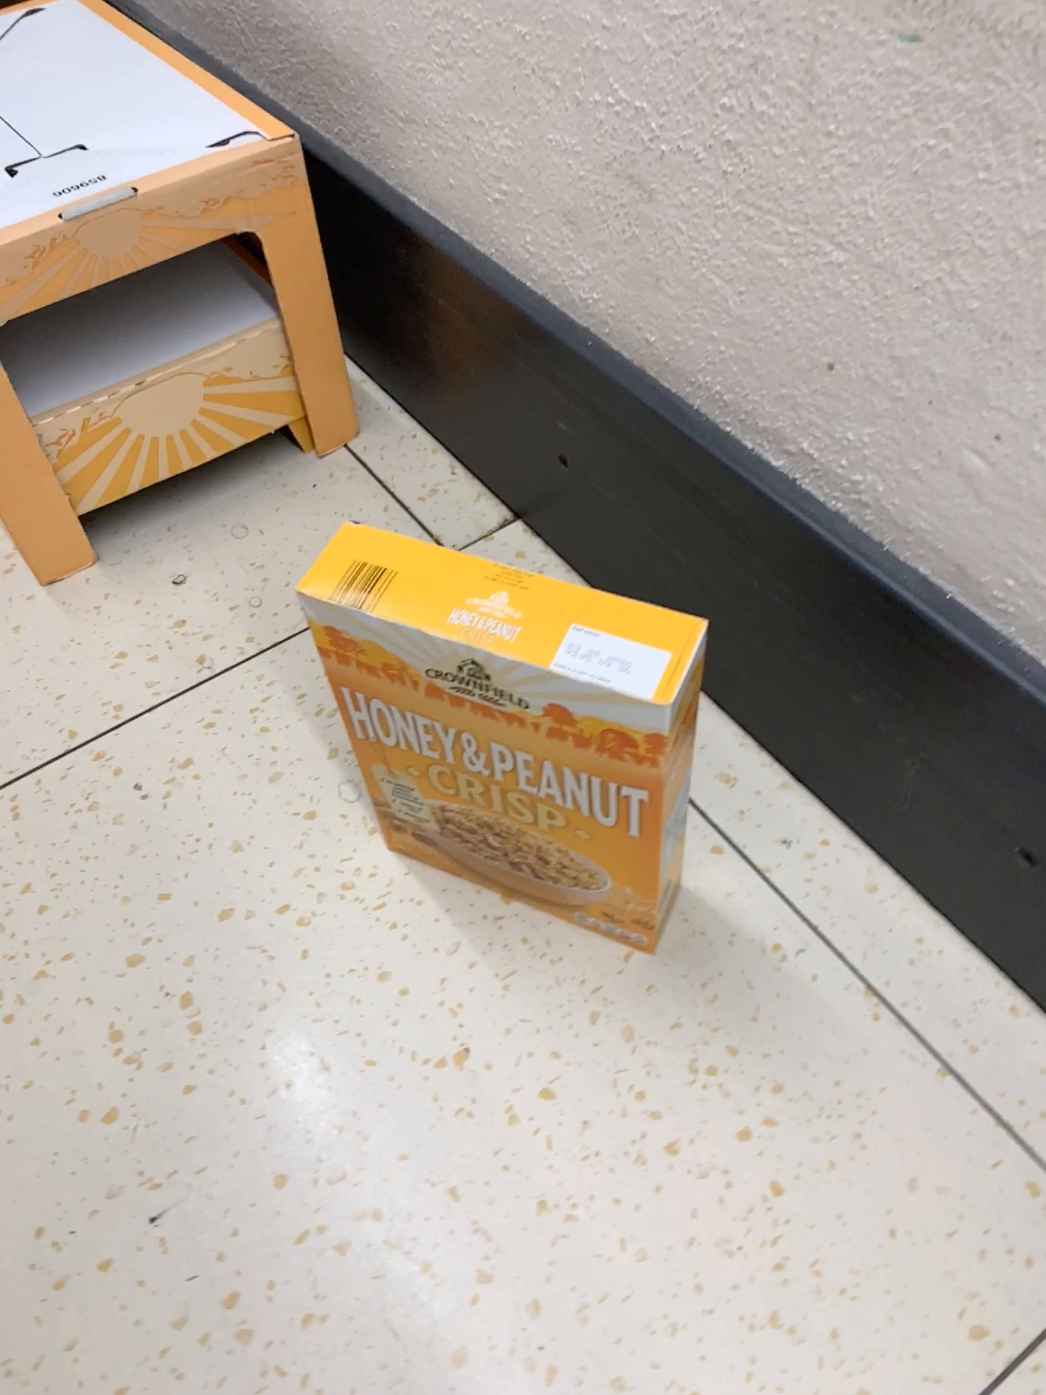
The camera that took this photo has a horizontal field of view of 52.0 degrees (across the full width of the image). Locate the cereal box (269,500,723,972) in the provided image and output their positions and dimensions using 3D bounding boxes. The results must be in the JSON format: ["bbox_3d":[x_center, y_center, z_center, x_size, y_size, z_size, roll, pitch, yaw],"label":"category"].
[{"bbox_3d":[-0.006,0.035,0.563,0.190,0.268,0.050,17,56,17],"label":"cereal box"}]
